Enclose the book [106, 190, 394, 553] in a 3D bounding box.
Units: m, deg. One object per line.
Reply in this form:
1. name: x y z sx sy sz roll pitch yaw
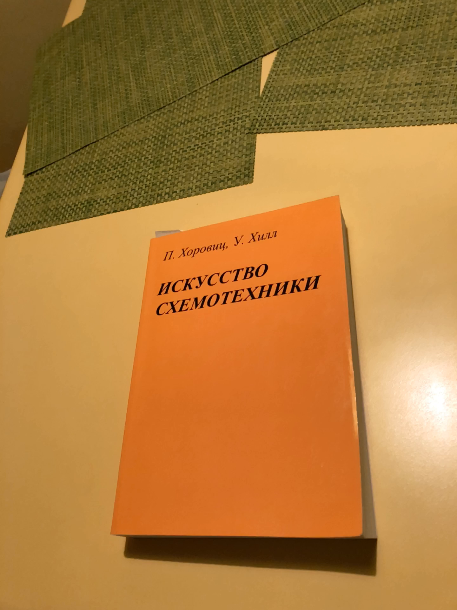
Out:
1. book: 0.016 0.043 0.365 0.171 0.048 0.238 -9 59 21
